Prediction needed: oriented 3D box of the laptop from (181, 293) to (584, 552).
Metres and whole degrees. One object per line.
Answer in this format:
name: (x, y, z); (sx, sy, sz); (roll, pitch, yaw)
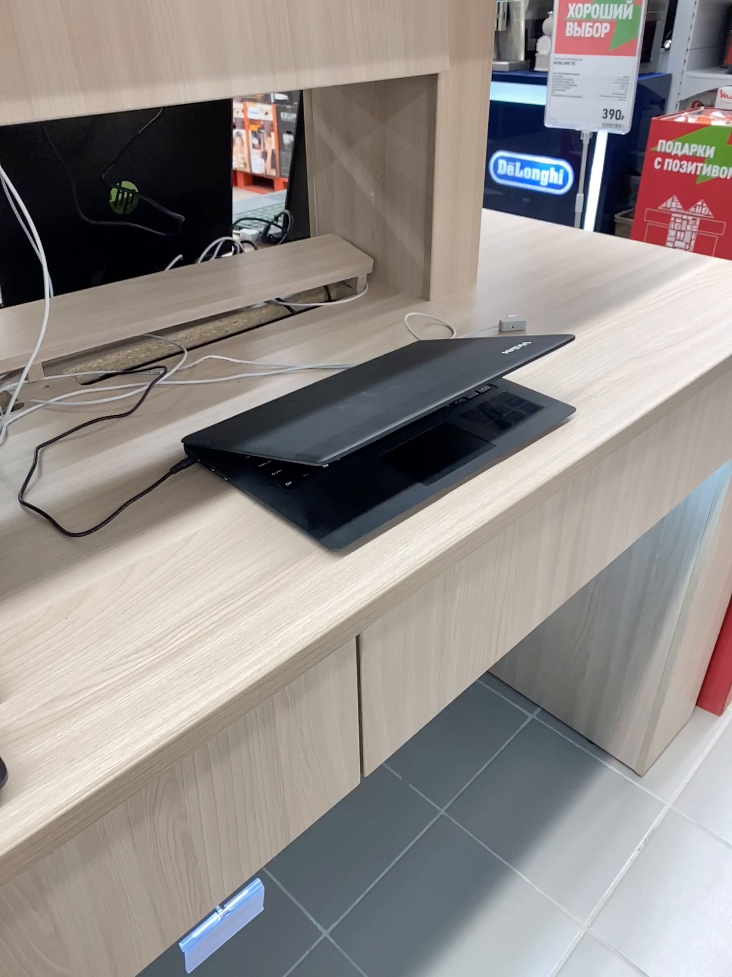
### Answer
laptop: (0.024, -0.085, 0.695); (0.320, 0.071, 0.202); (-28, 42, -35)
